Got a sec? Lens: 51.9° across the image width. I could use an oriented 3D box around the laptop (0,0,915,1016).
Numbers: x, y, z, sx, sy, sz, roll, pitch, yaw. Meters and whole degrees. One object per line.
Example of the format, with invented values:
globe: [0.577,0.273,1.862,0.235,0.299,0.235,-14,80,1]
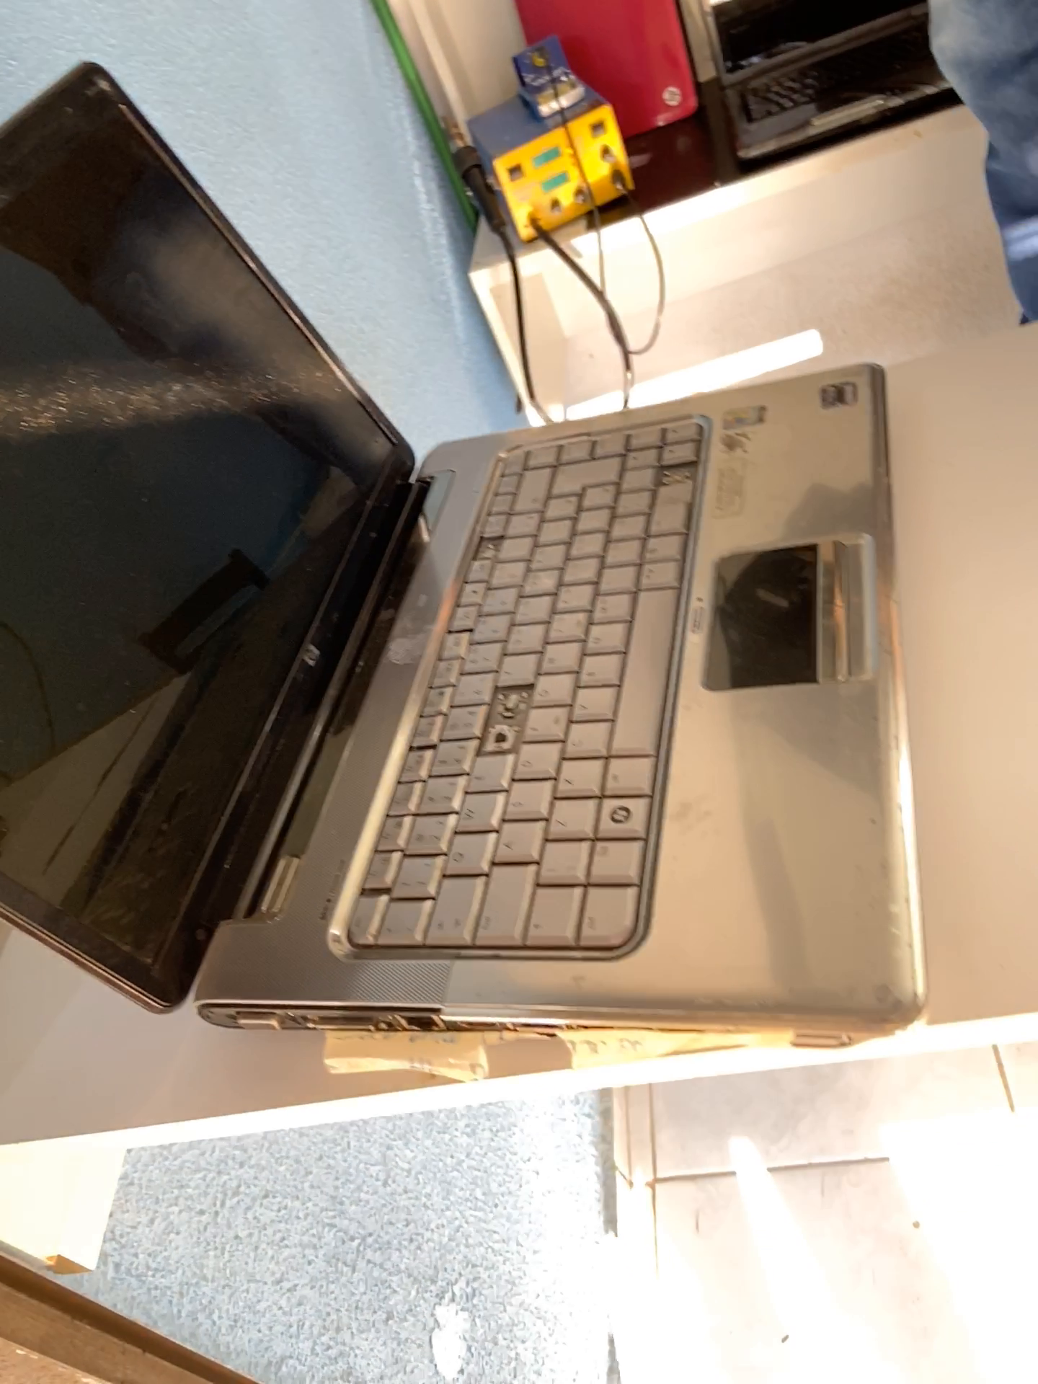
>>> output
laptop: [-0.050,-0.101,0.403,0.328,0.233,0.353,-7,44,23]
